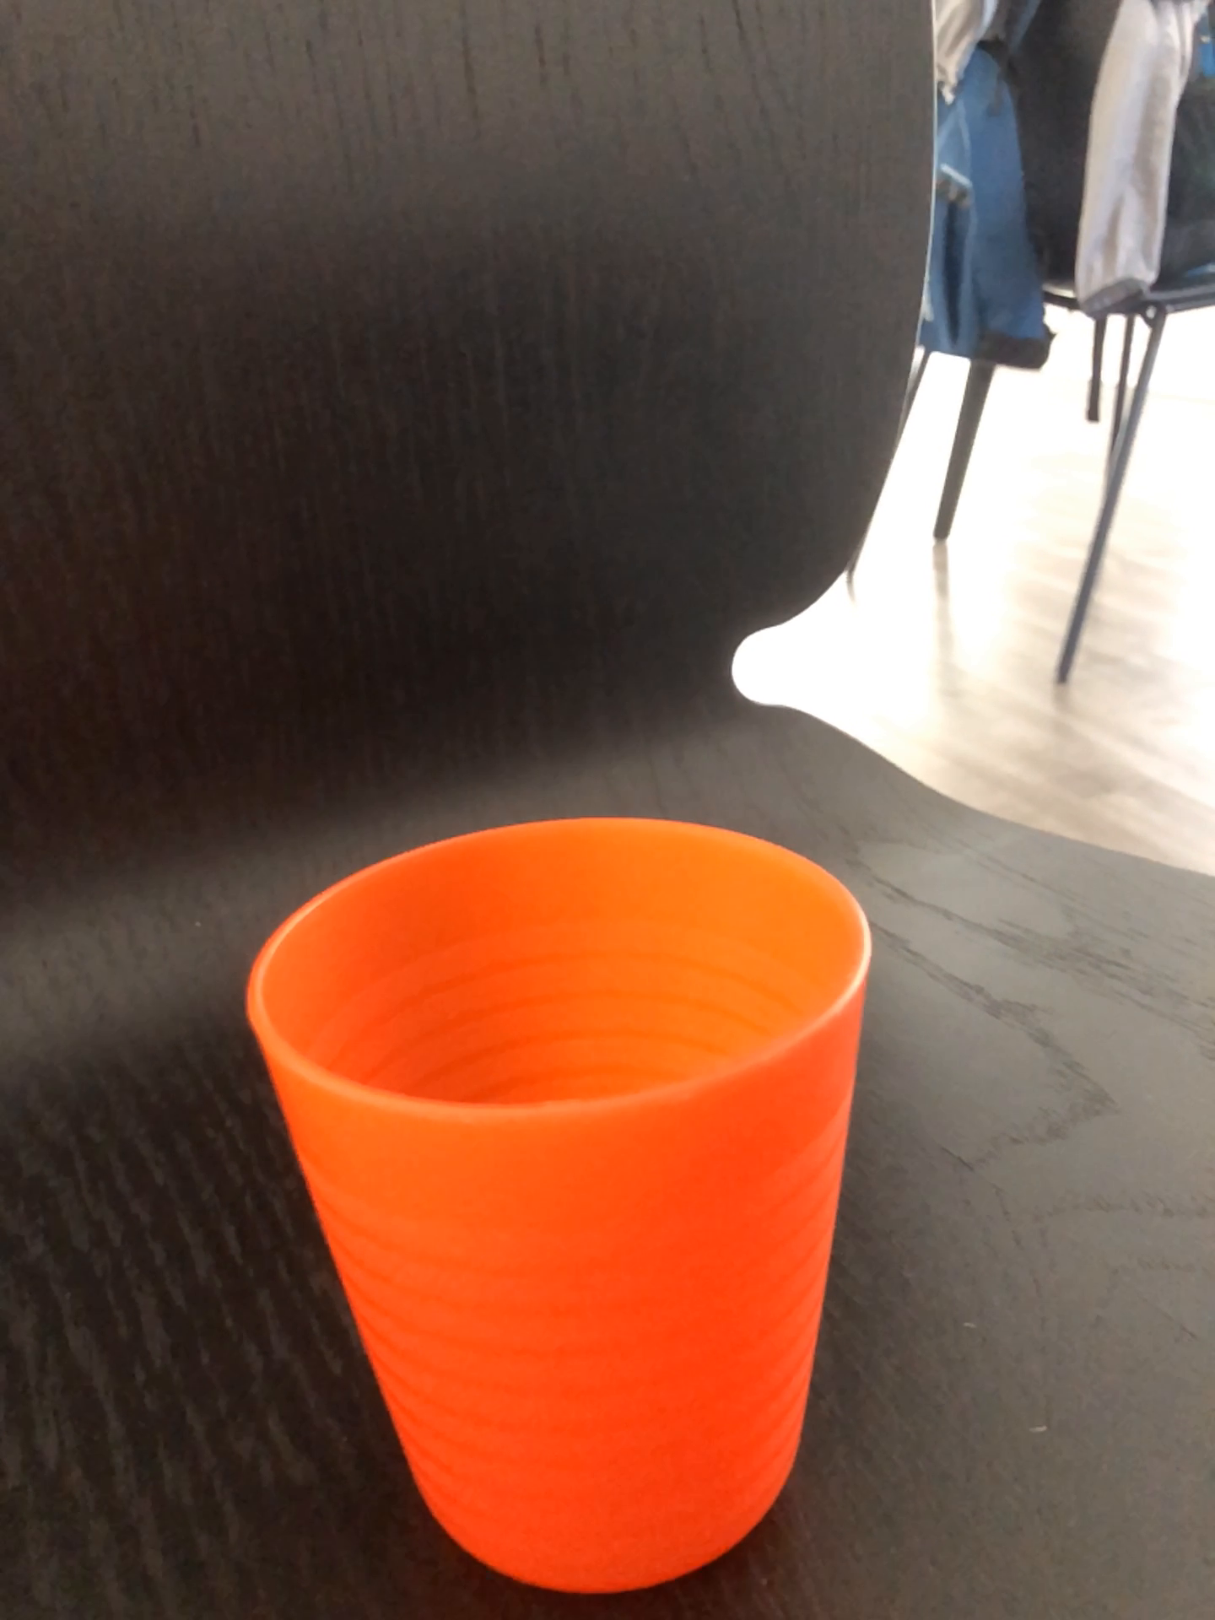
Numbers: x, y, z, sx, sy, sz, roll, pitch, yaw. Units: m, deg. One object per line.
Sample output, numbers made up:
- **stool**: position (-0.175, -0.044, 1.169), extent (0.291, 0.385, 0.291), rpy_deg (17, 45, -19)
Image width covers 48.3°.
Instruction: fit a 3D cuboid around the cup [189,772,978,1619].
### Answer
- **cup**: position (-0.008, 0.051, 0.187), extent (0.080, 0.080, 0.080), rpy_deg (-1, 25, 1)
